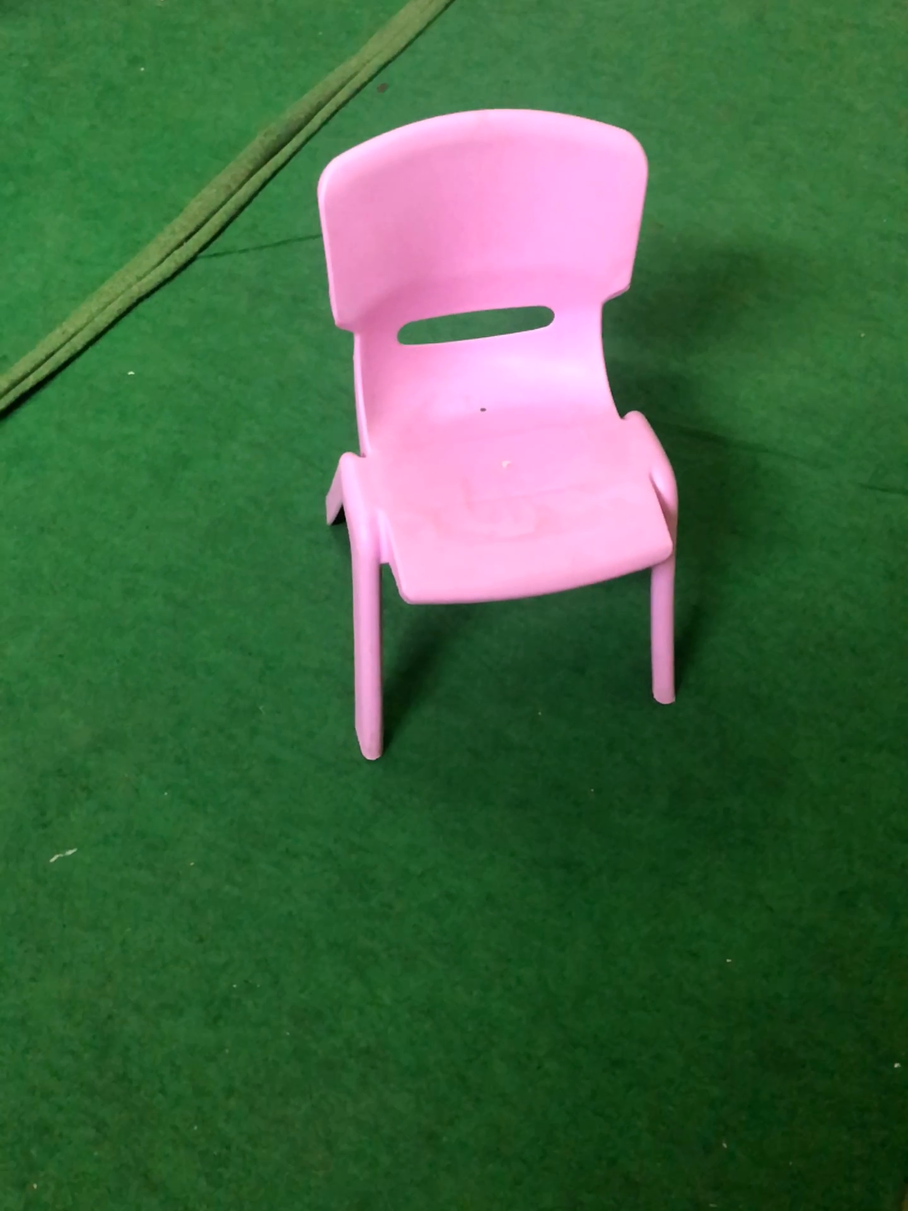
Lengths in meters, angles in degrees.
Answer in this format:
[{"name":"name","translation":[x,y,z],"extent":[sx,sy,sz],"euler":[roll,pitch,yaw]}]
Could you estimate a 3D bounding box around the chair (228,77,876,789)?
[{"name":"chair","translation":[0.040,-0.148,0.944],"extent":[0.380,0.449,0.411],"euler":[-12,57,-11]}]
